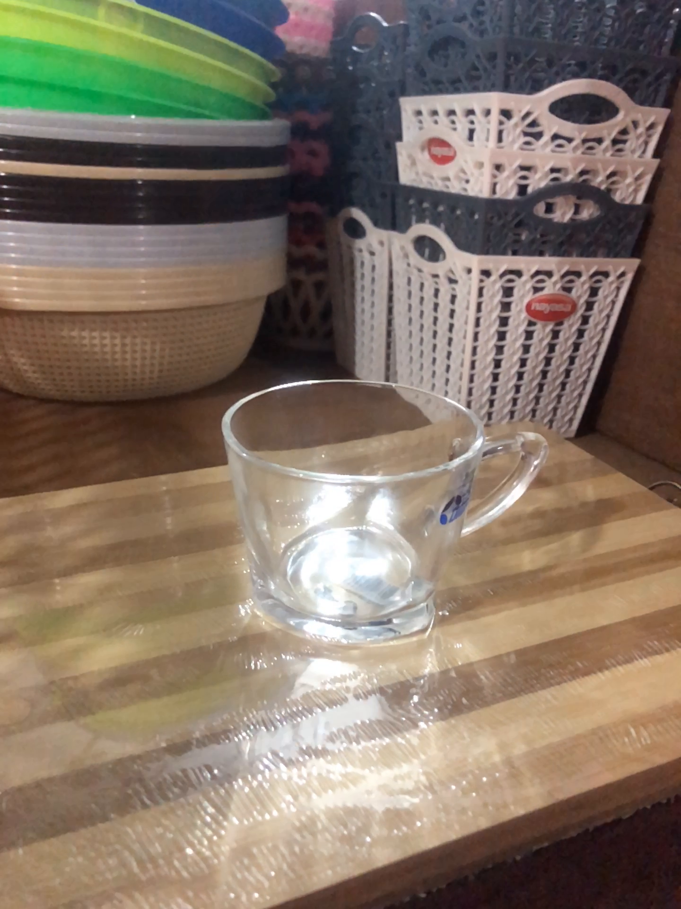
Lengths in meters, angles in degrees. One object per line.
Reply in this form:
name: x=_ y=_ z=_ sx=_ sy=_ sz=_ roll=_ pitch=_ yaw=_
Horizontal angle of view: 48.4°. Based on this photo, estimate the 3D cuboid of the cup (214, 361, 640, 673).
cup: x=0.021 y=0.013 z=0.242 sx=0.110 sy=0.060 sz=0.070 roll=-6 pitch=25 yaw=-17
